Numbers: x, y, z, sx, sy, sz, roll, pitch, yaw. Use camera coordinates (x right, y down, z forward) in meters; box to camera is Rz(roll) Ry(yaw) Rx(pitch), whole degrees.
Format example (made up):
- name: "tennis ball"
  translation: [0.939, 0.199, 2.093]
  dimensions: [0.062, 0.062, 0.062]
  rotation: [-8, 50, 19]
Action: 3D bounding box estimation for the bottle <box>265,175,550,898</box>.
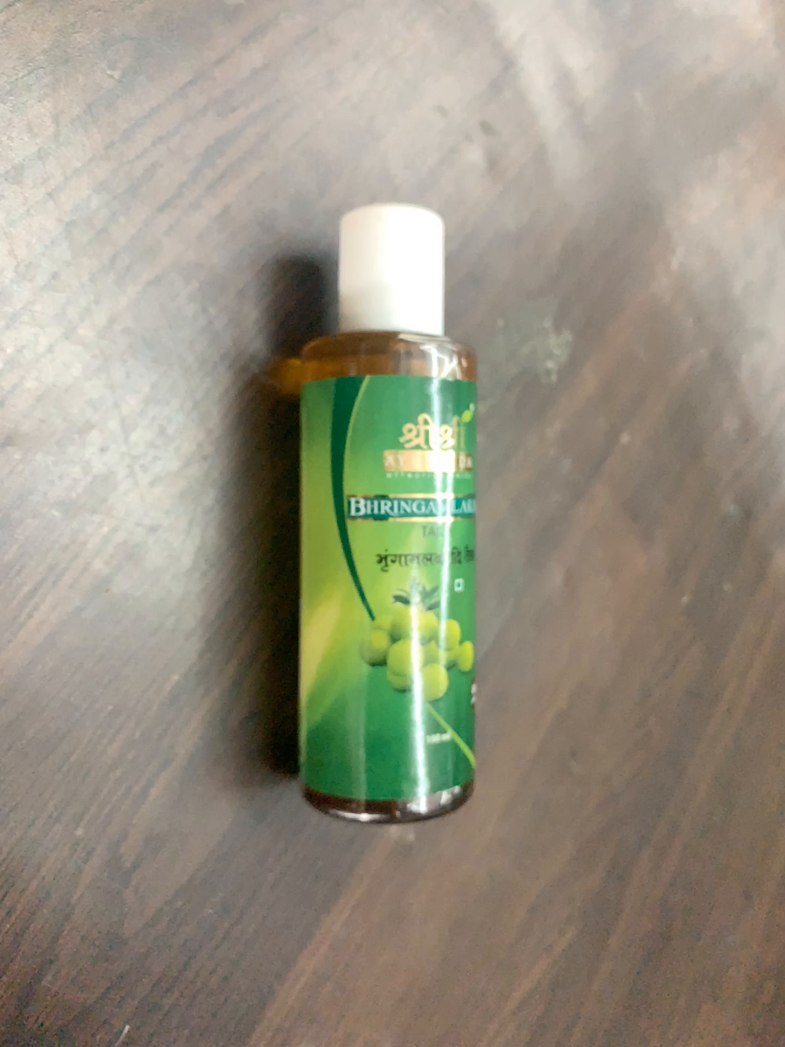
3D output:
- name: "bottle"
  translation: [0.002, 0.002, 0.166]
  dimensions: [0.040, 0.040, 0.120]
  rotation: [0, 91, -36]
